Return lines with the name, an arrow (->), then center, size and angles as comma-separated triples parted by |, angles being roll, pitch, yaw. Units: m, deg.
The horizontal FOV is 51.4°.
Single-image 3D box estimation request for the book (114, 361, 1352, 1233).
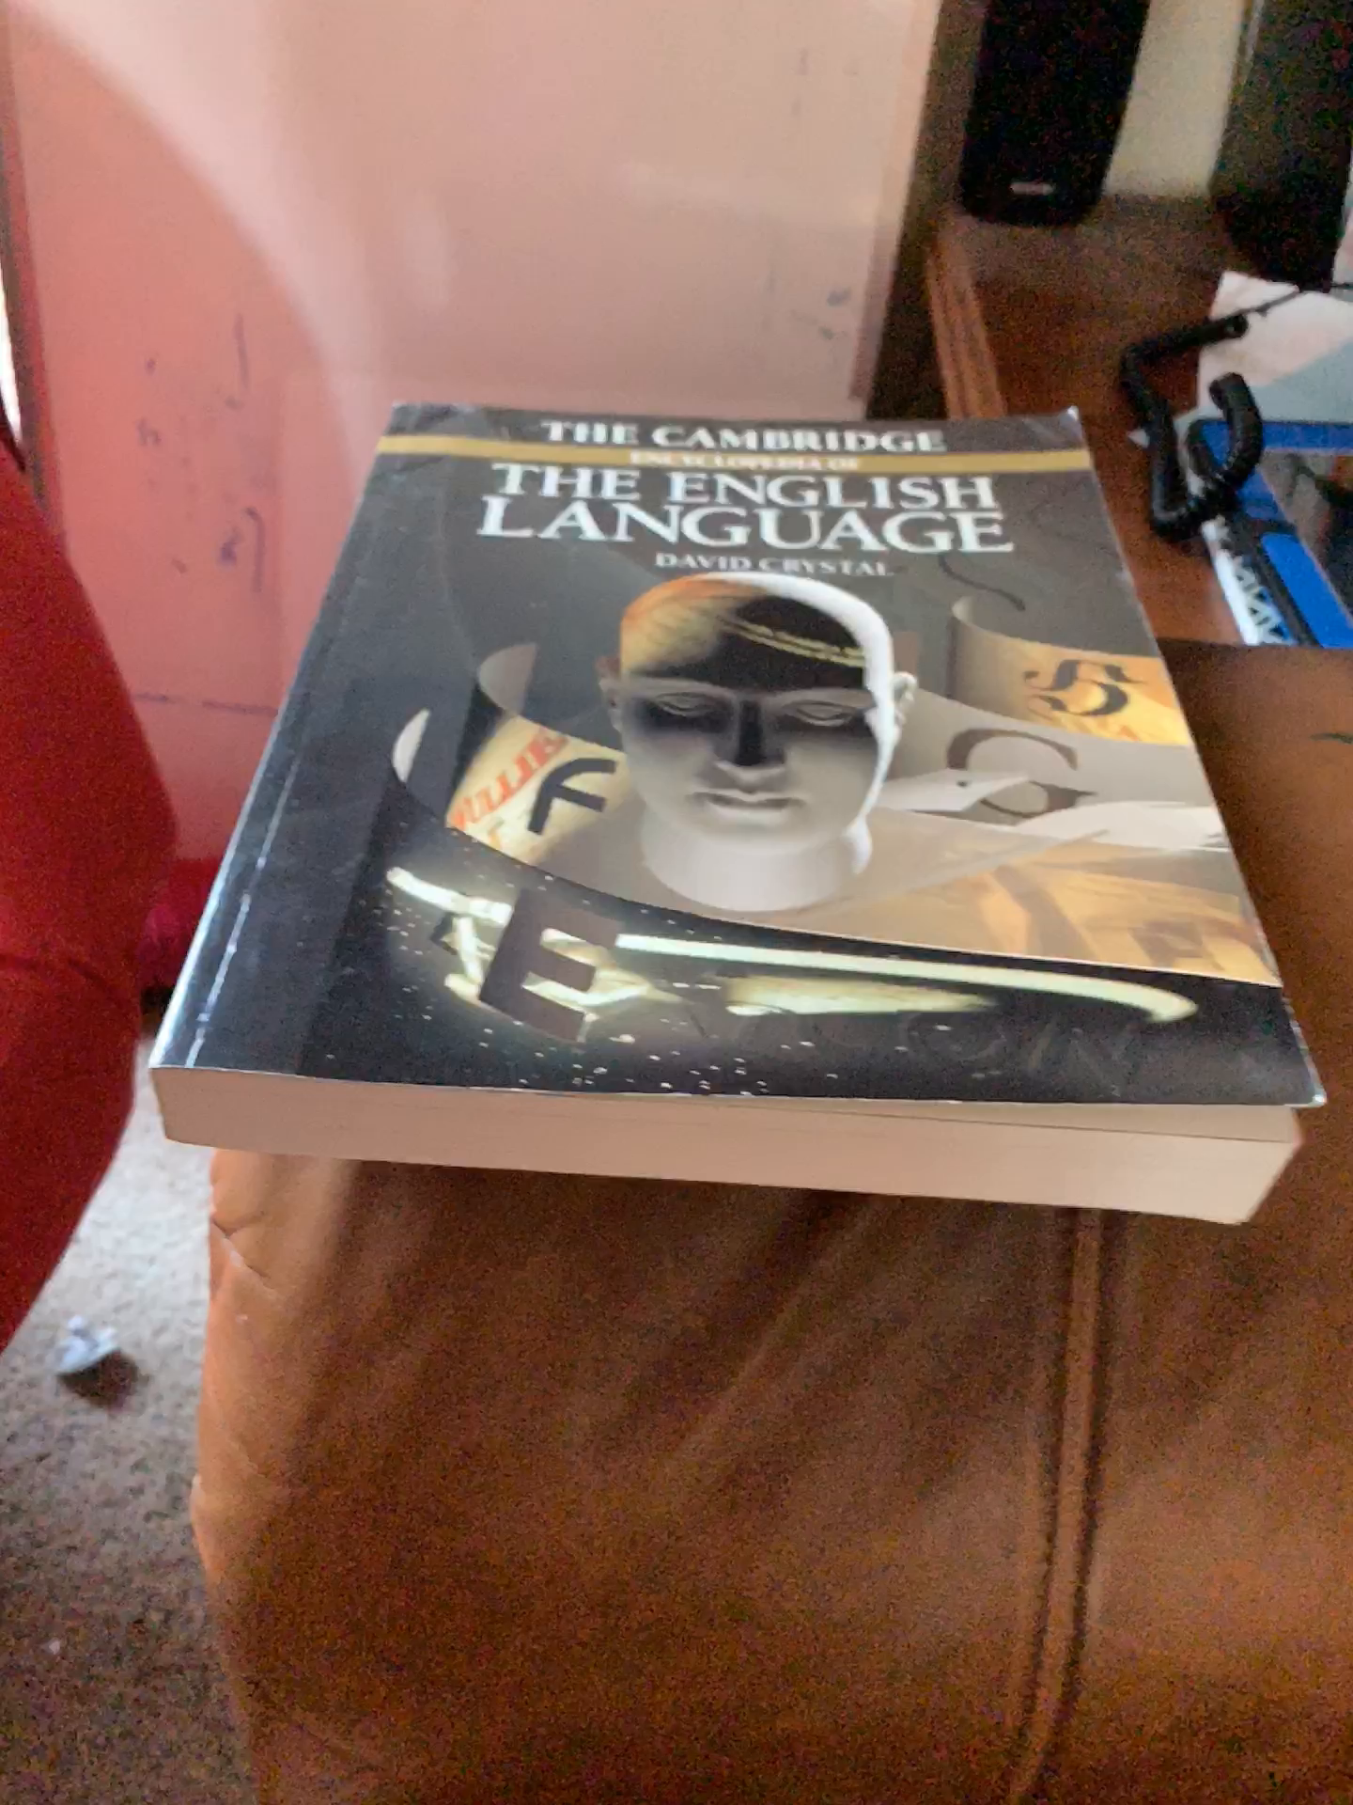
book -> 0.022, -0.054, 0.372 | 0.240, 0.050, 0.281 | 3, 44, -1
